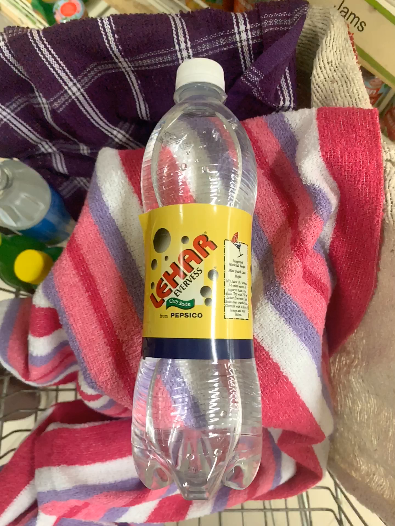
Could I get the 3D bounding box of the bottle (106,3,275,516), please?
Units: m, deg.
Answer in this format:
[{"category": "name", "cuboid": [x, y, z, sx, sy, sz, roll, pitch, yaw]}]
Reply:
[{"category": "bottle", "cuboid": [-0.001, -0.008, 0.225, 0.070, 0.070, 0.240, 0, 80, 4]}]
